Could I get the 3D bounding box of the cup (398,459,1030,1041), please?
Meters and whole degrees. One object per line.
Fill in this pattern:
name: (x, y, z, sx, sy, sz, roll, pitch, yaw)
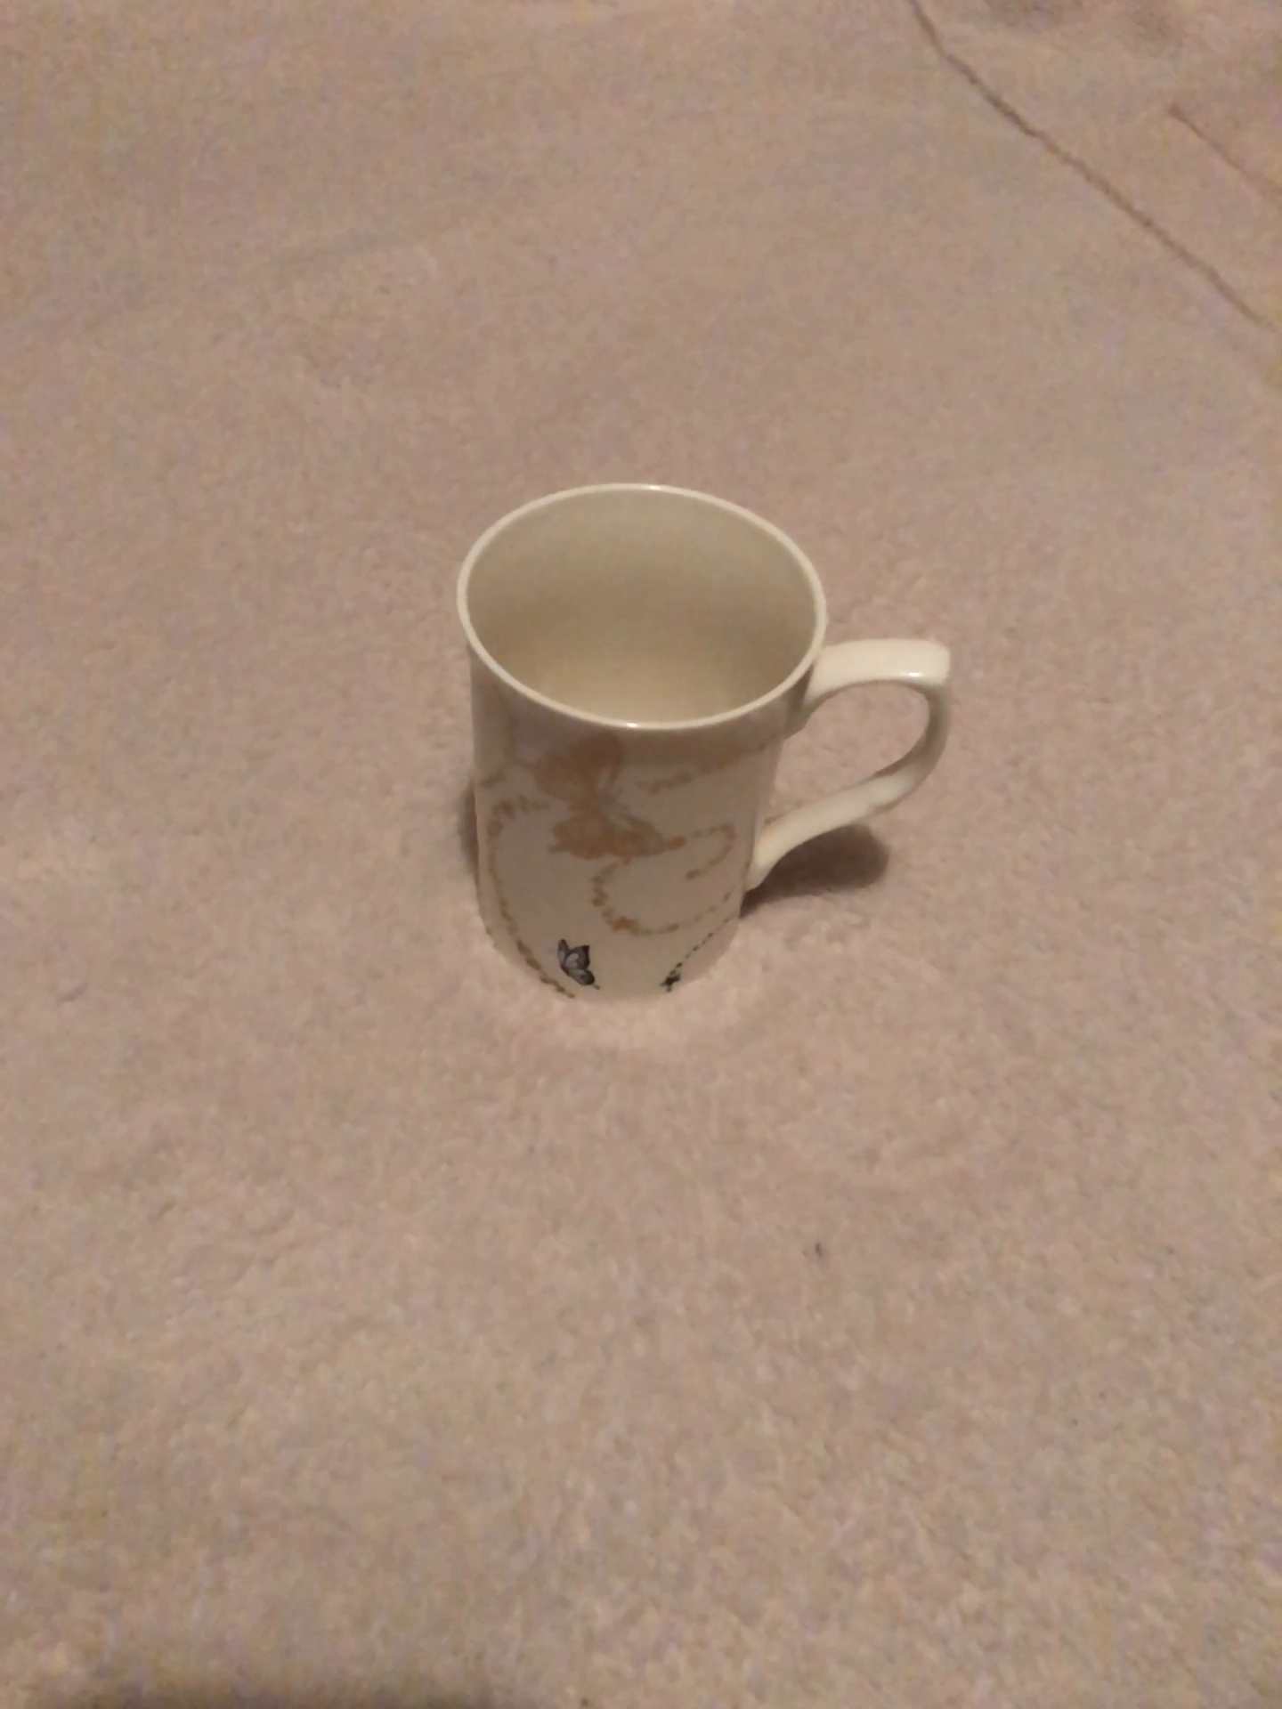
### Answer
cup: (0.010, -0.019, 0.317, 0.112, 0.110, 0.074, 0, 52, -3)
